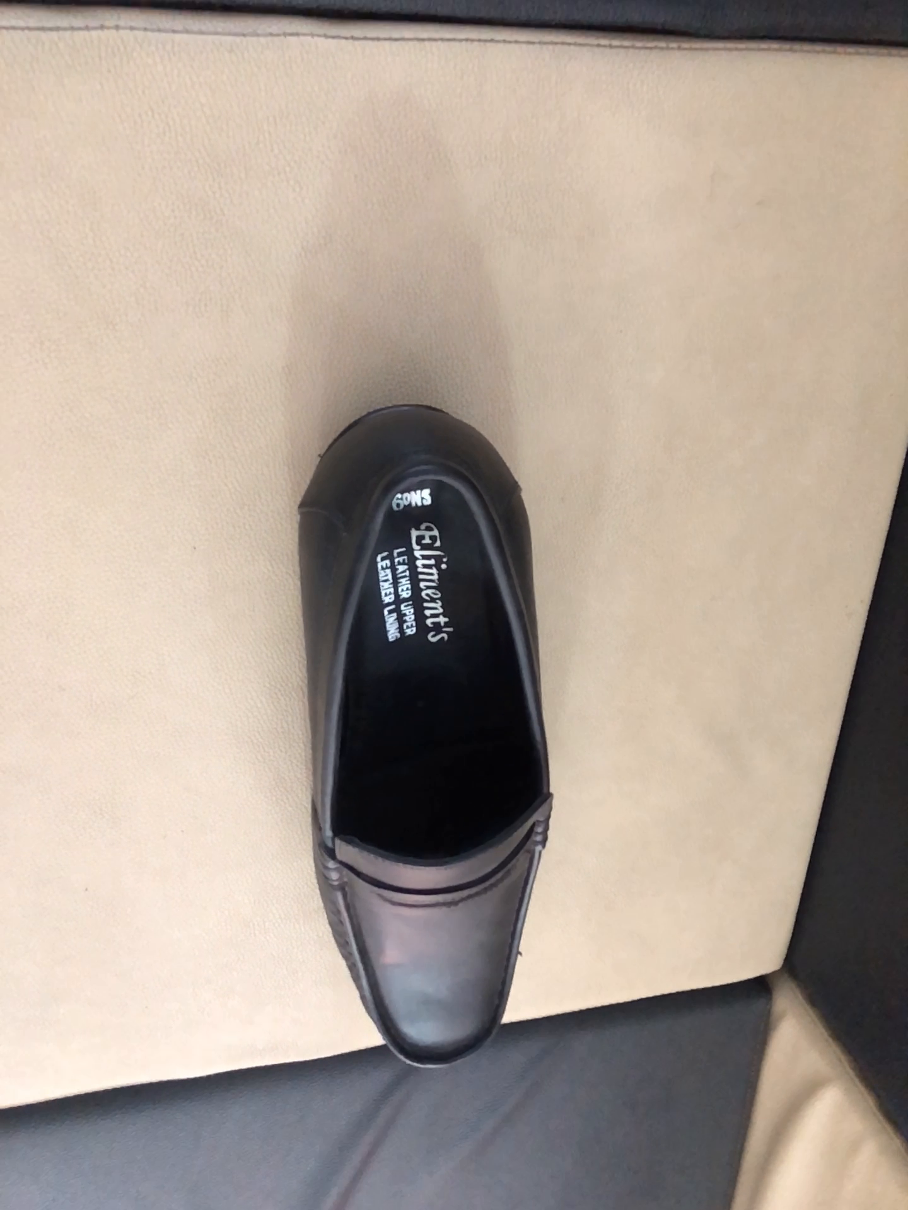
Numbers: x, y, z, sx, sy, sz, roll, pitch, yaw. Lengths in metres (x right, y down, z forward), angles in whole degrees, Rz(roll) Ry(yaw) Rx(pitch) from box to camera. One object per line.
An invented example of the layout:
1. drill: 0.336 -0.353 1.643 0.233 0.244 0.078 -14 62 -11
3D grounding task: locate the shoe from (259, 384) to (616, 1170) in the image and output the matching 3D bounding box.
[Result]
1. shoe: -0.009 0.072 0.382 0.100 0.080 0.291 -6 116 -11
